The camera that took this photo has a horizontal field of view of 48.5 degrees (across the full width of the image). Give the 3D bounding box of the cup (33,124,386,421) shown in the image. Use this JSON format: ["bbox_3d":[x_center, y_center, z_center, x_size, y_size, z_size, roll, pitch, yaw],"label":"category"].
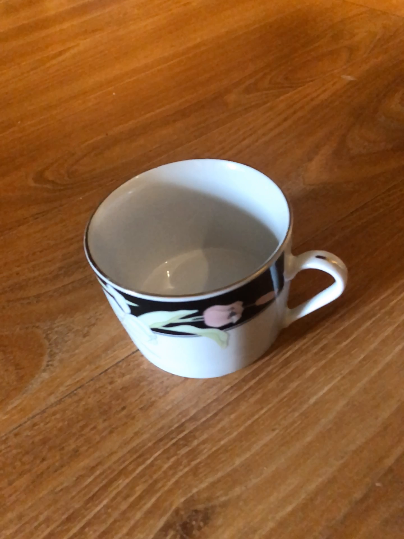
[{"bbox_3d":[0.010,-0.006,0.193,0.110,0.060,0.090,12,52,20],"label":"cup"}]
